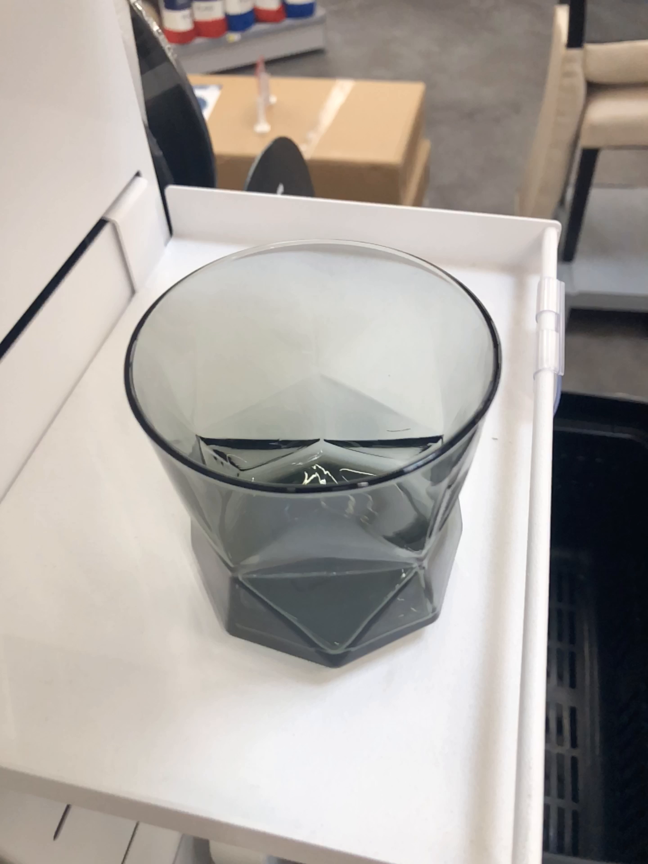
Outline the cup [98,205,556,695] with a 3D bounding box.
[{"bbox_3d":[-0.004,0.003,0.198,0.088,0.080,0.094,-2,46,2],"label":"cup"}]
